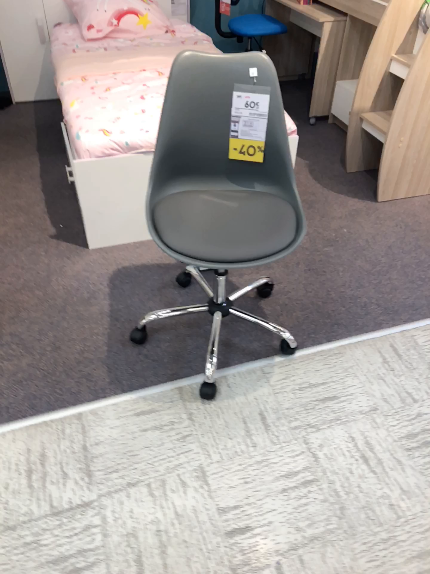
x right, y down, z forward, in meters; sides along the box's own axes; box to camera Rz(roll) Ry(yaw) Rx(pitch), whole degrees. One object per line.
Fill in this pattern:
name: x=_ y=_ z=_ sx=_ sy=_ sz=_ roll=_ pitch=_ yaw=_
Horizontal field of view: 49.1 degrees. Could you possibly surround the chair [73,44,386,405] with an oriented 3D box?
chair: x=-0.004 y=-0.184 z=1.408 sx=0.600 sy=0.835 sz=0.634 roll=-3 pitch=41 yaw=-5
